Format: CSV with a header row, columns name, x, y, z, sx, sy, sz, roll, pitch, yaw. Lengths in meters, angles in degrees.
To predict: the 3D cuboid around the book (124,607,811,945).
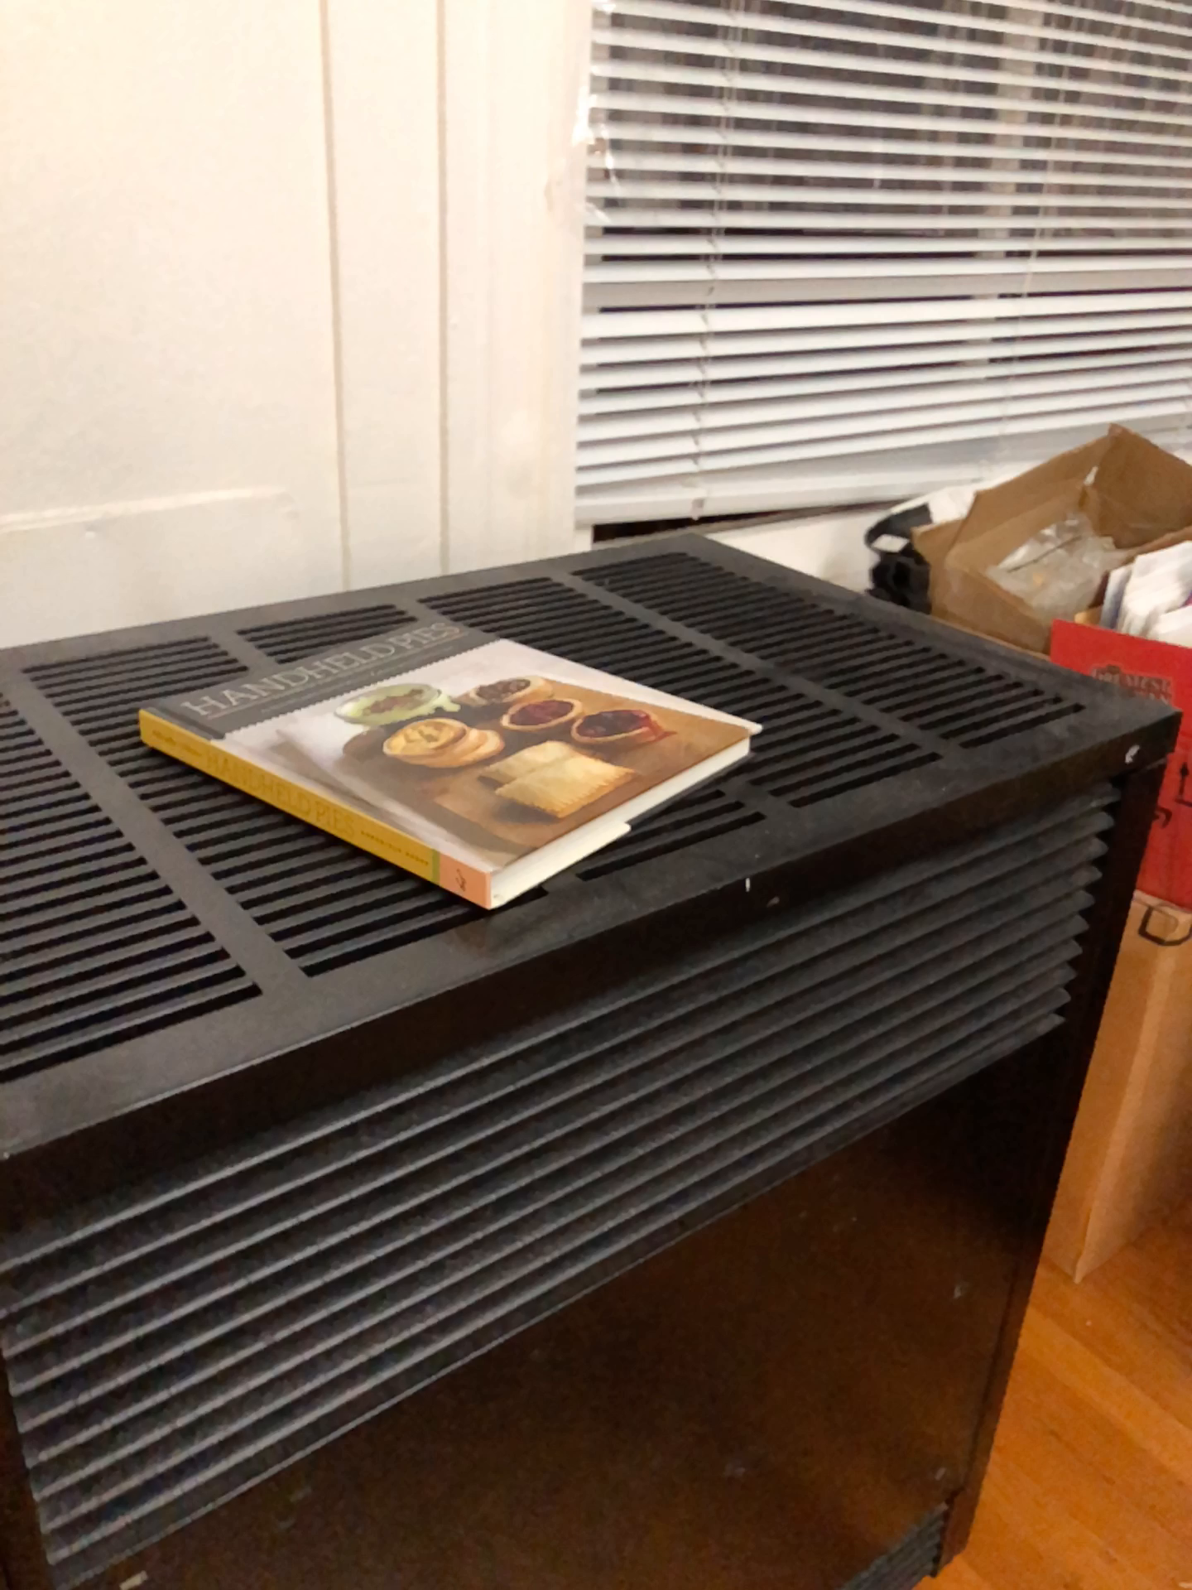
name,x,y,z,sx,sy,sz,roll,pitch,yaw
book,-0.055,-0.025,0.590,0.230,0.020,0.201,21,33,33
